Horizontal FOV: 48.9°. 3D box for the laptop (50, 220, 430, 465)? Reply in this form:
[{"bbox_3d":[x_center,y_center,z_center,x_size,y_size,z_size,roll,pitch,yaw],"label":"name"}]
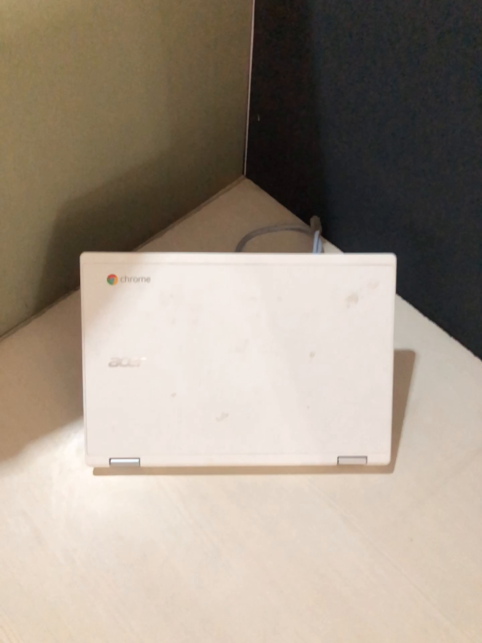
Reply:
[{"bbox_3d":[-0.003,0.020,0.491,0.285,0.115,0.187,0,61,-1],"label":"laptop"}]
